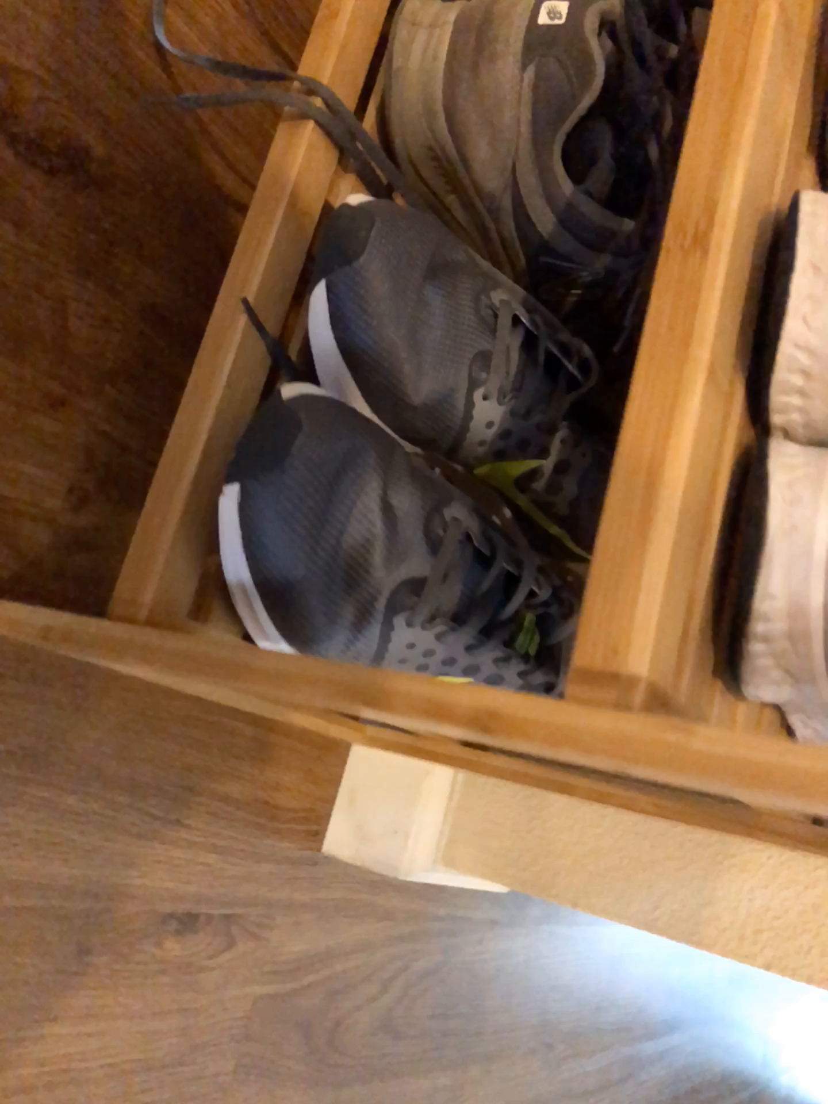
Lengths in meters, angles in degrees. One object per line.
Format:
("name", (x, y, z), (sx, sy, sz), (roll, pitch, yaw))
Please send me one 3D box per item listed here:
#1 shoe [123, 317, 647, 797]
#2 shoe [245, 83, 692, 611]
("shoe", (0.019, 0.027, 0.450), (0.312, 0.070, 0.120), (36, 65, -51))
("shoe", (0.056, -0.074, 0.480), (0.312, 0.070, 0.110), (36, 65, -51))
